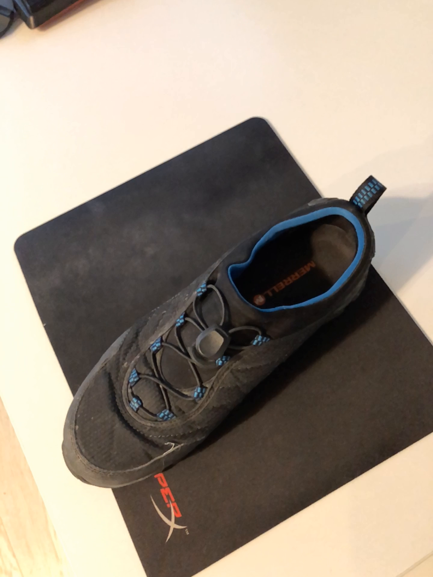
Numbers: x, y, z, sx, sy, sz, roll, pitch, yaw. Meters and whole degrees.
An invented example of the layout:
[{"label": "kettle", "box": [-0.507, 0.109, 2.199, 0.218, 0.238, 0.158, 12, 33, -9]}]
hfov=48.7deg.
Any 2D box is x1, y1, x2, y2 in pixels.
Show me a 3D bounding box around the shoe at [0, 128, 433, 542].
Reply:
[{"label": "shoe", "box": [0.001, 0.033, 0.375, 0.300, 0.110, 0.130, -37, 69, -7]}]
